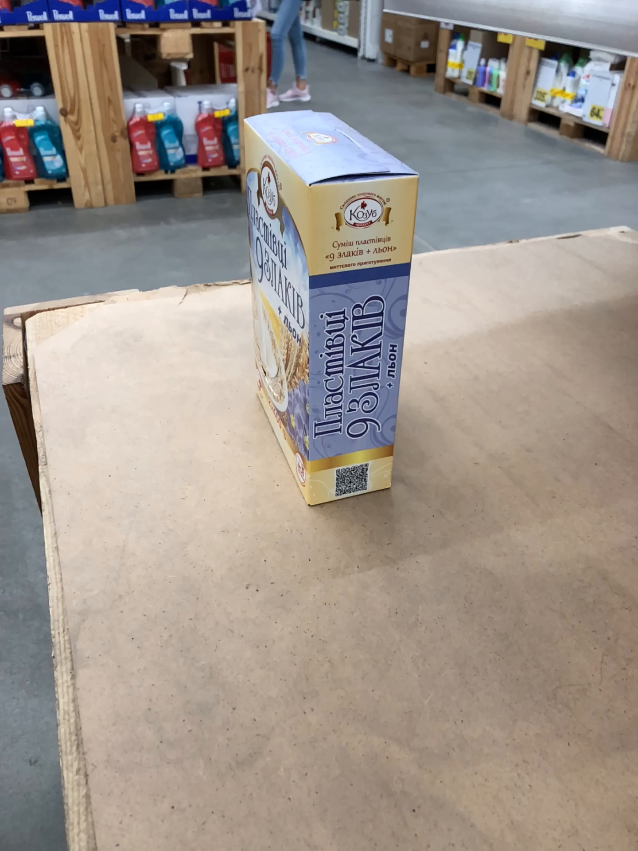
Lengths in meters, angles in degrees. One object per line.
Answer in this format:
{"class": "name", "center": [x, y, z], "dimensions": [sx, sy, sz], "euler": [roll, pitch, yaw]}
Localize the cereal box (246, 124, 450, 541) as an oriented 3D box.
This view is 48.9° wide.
{"class": "cereal box", "center": [0.006, -0.072, 0.510], "dimensions": [0.070, 0.238, 0.181], "euler": [-9, 35, -16]}
